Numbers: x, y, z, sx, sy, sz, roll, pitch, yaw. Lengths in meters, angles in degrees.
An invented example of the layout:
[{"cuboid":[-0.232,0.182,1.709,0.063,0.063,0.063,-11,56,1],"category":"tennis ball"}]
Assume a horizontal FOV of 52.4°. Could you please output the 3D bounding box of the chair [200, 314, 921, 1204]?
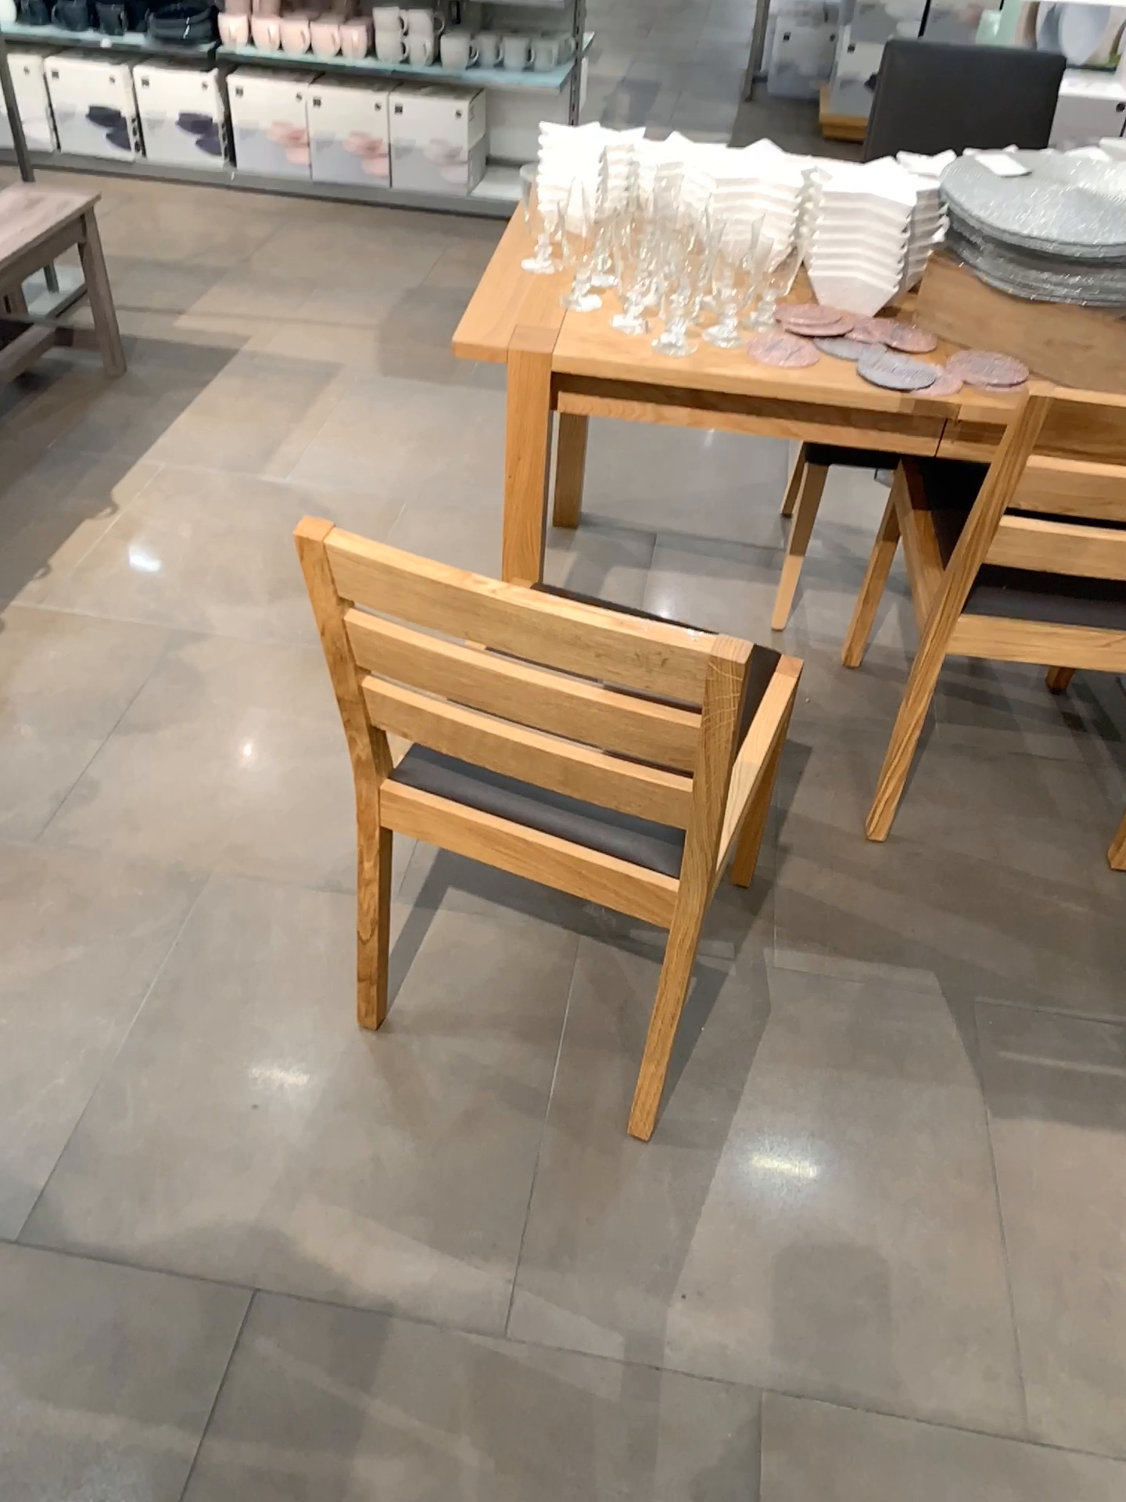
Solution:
[{"cuboid":[0.016,0.009,1.432,0.563,0.815,0.568,17,43,14],"category":"chair"}]
